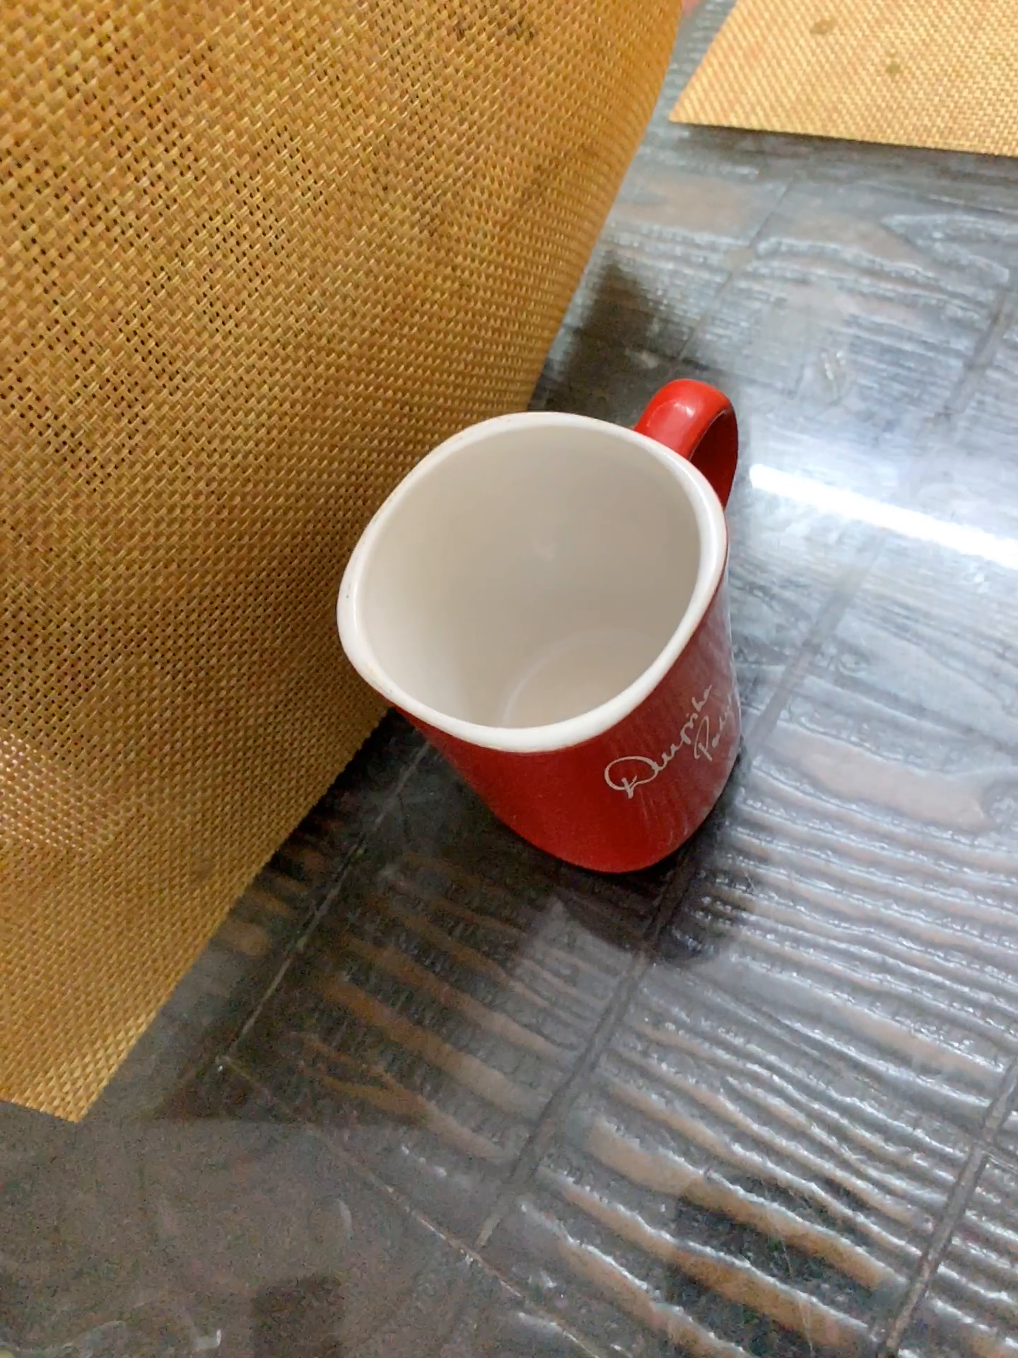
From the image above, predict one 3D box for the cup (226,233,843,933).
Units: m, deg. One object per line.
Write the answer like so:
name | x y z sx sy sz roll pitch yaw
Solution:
cup | 0.015 -0.017 0.215 0.070 0.085 0.096 21 72 25
